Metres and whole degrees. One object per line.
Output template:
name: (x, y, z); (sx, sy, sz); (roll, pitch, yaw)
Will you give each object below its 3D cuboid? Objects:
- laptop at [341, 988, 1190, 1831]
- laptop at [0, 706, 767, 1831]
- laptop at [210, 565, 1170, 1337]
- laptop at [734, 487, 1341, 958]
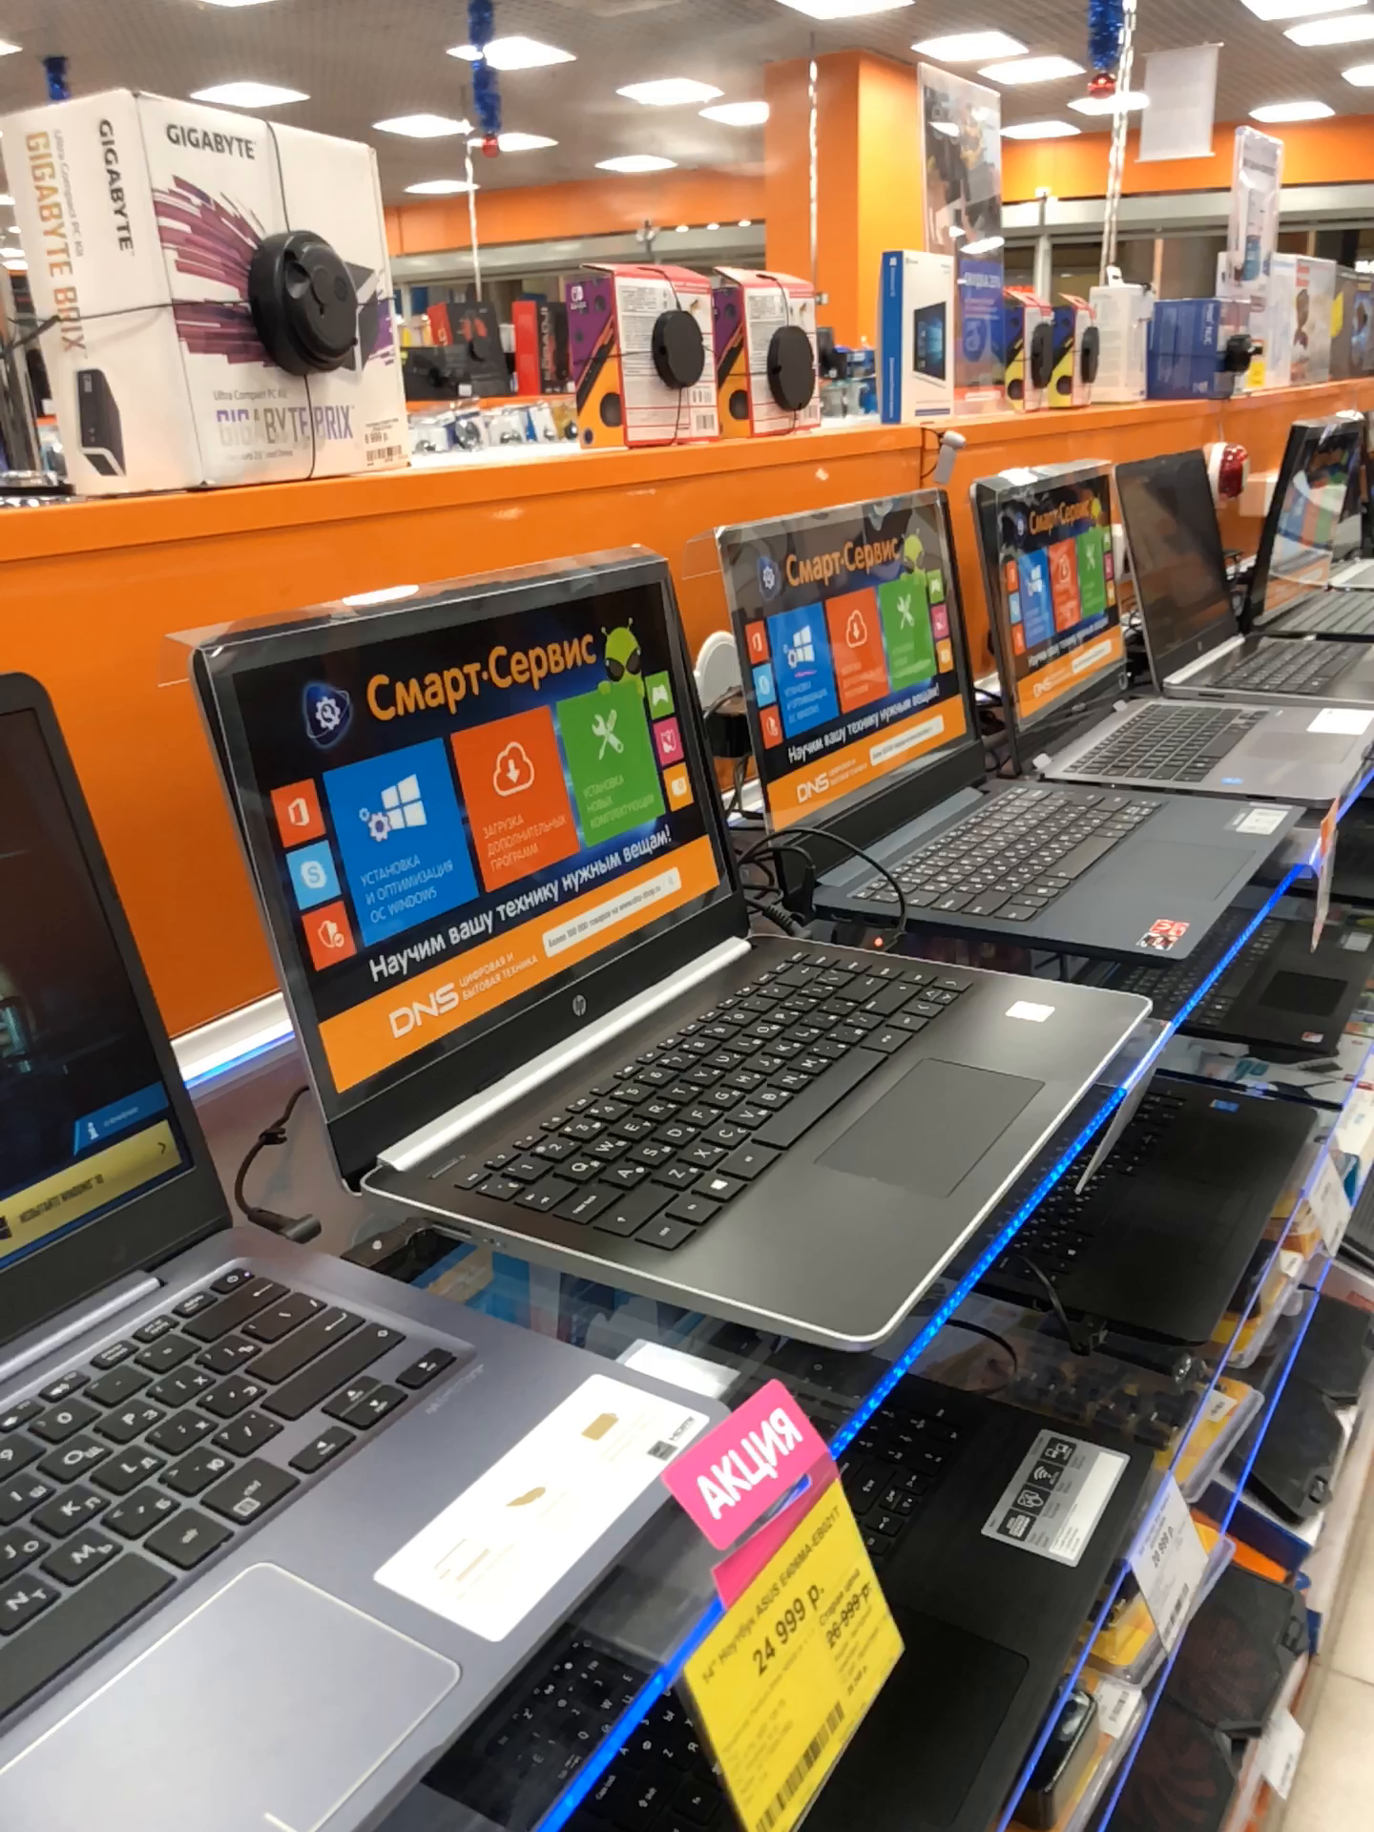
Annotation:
laptop: (0.063, 0.231, 0.745); (0.251, 0.245, 0.364); (9, 22, 31)
laptop: (-0.190, 0.077, 0.358); (0.279, 0.199, 0.314); (7, 20, 30)
laptop: (0.023, -0.027, 0.640); (0.267, 0.197, 0.314); (10, 22, 30)
laptop: (0.217, -0.138, 0.917); (0.248, 0.205, 0.277); (11, 24, 32)
